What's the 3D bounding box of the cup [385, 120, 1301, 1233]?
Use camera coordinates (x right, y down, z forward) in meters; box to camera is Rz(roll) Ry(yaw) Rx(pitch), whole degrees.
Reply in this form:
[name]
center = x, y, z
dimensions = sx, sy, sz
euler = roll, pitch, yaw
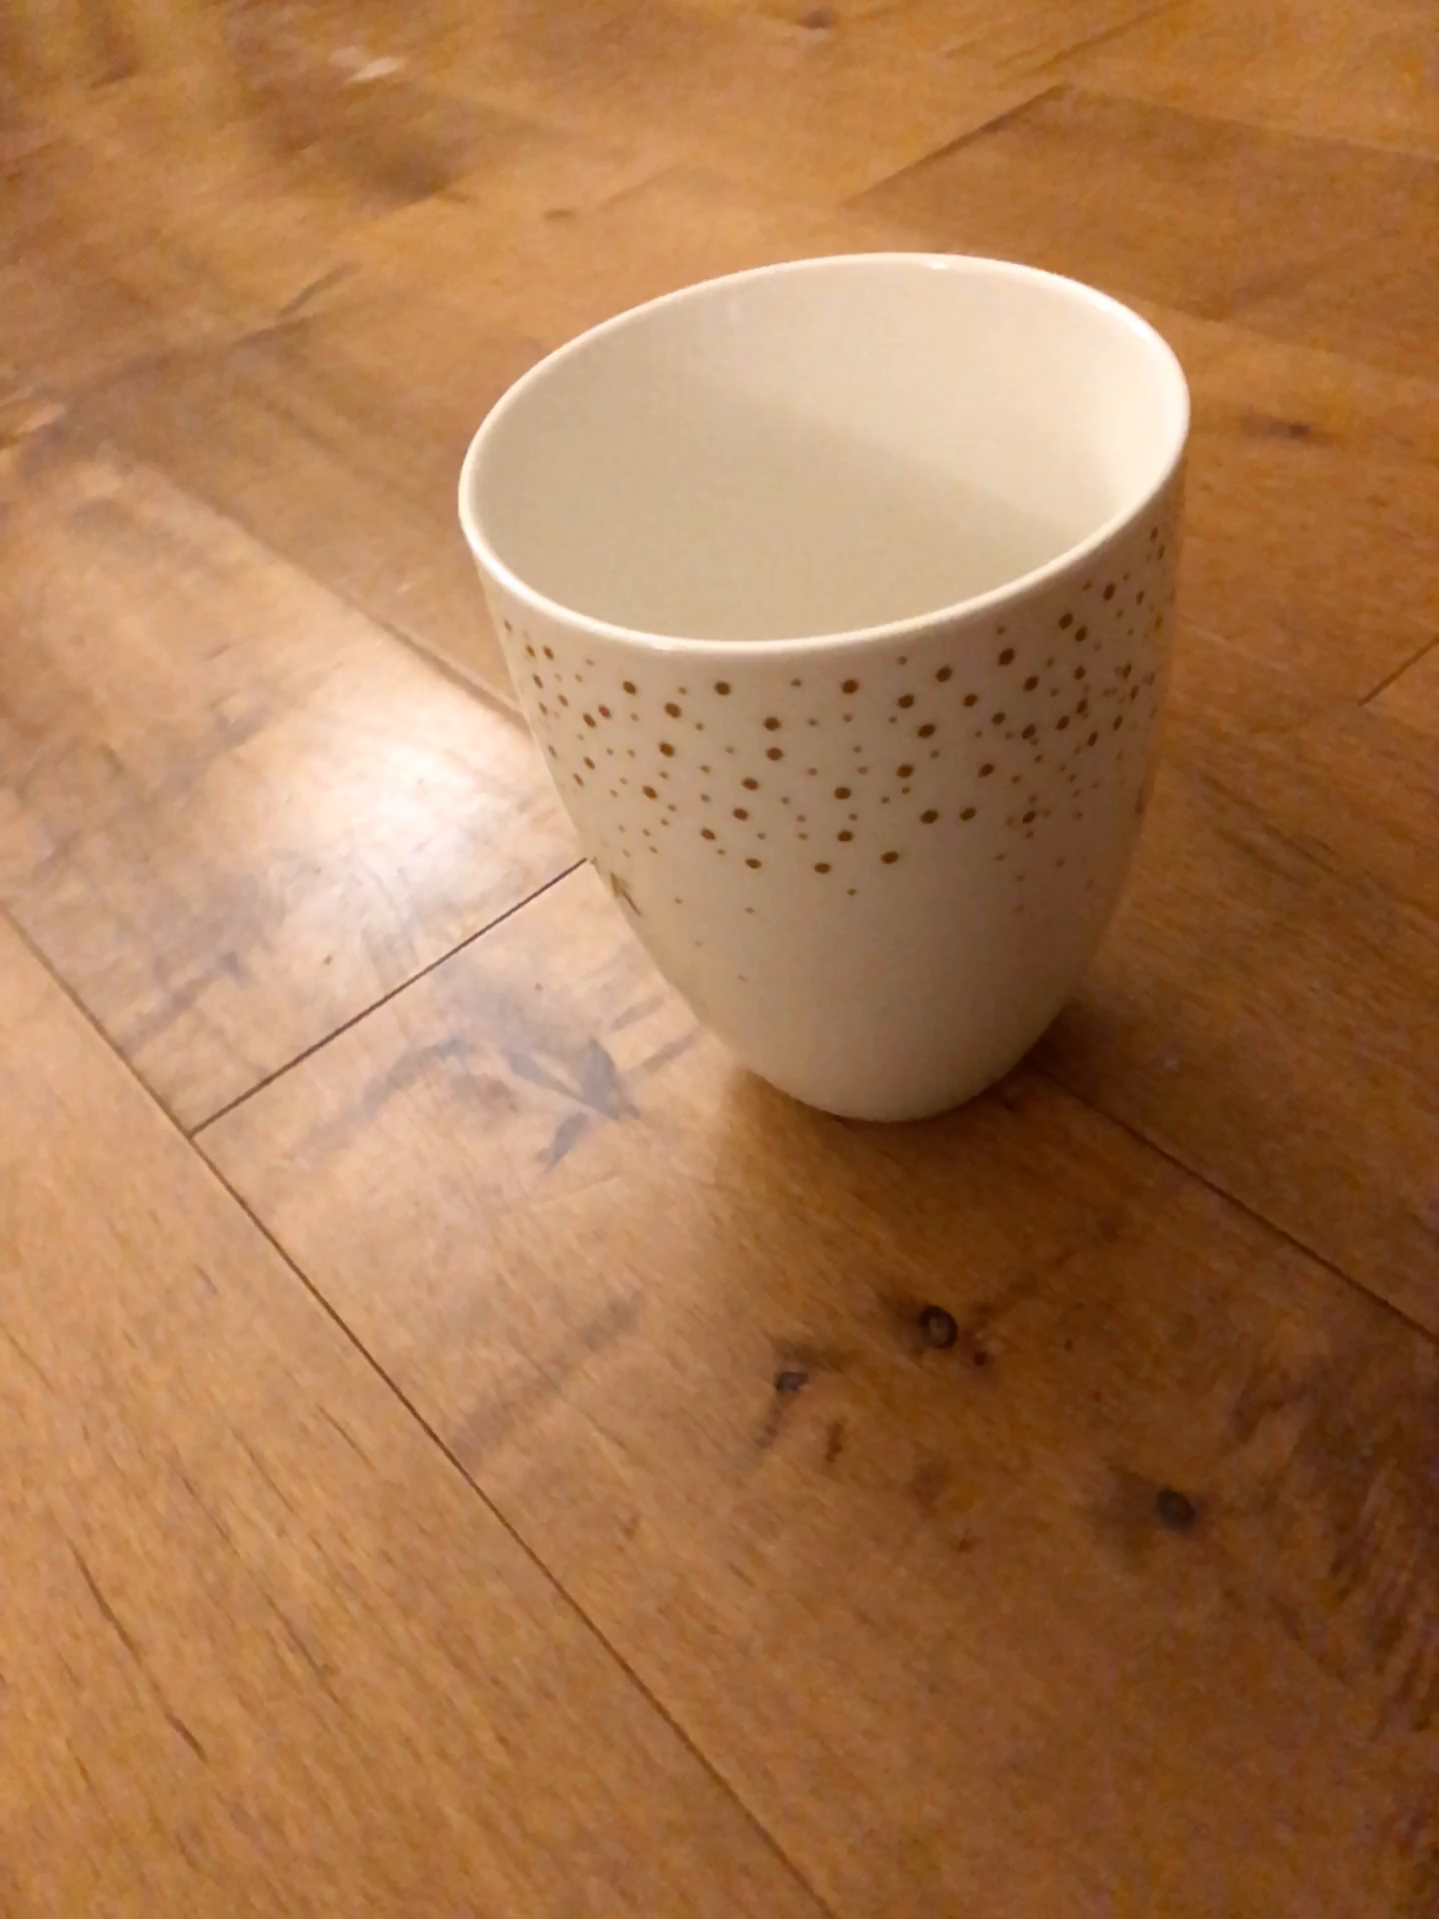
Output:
[cup]
center = 0.014, -0.052, 0.276
dimensions = 0.110, 0.109, 0.141
euler = -12, 46, 2
